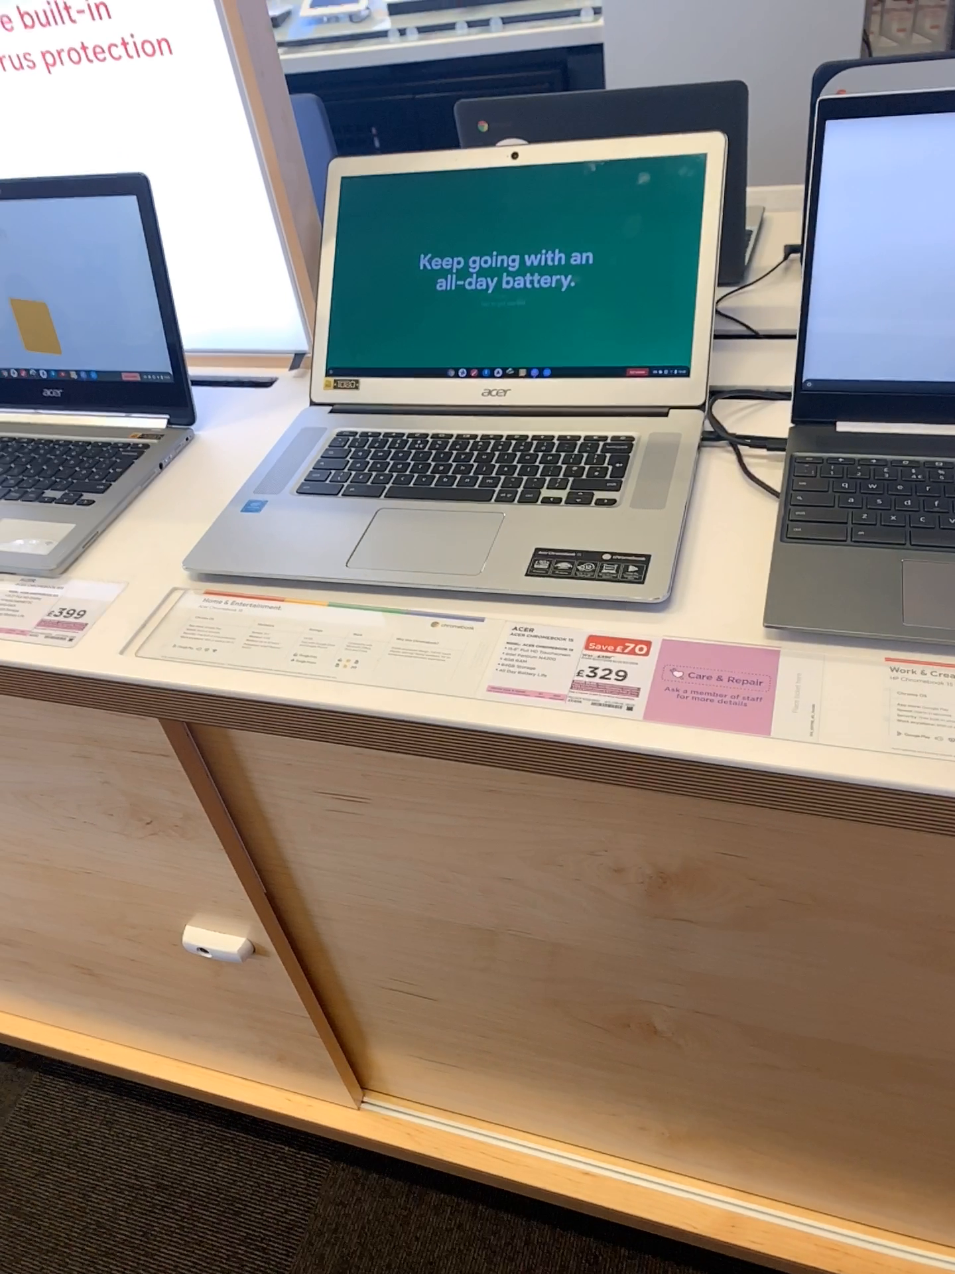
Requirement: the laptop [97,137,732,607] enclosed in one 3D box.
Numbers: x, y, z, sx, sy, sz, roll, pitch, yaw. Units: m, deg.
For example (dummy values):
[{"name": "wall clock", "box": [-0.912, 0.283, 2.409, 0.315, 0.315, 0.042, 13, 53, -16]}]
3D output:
[{"name": "laptop", "box": [-0.004, -0.240, 0.804, 0.375, 0.168, 0.433, 4, 43, 17]}]
